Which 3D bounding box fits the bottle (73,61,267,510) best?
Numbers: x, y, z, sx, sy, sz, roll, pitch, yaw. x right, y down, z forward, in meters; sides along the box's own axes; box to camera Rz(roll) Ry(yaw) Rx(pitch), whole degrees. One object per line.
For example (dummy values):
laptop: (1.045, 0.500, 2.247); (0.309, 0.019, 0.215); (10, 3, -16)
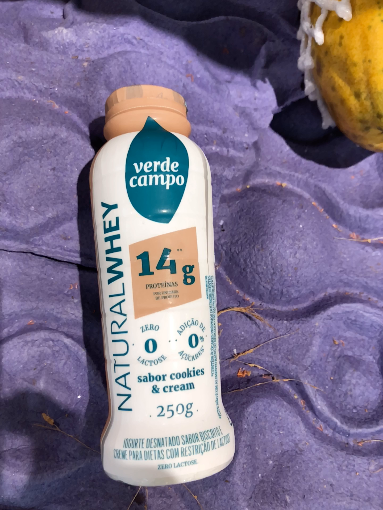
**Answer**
bottle: (-0.014, 0.007, 0.178); (0.060, 0.040, 0.160); (-3, 81, -16)
